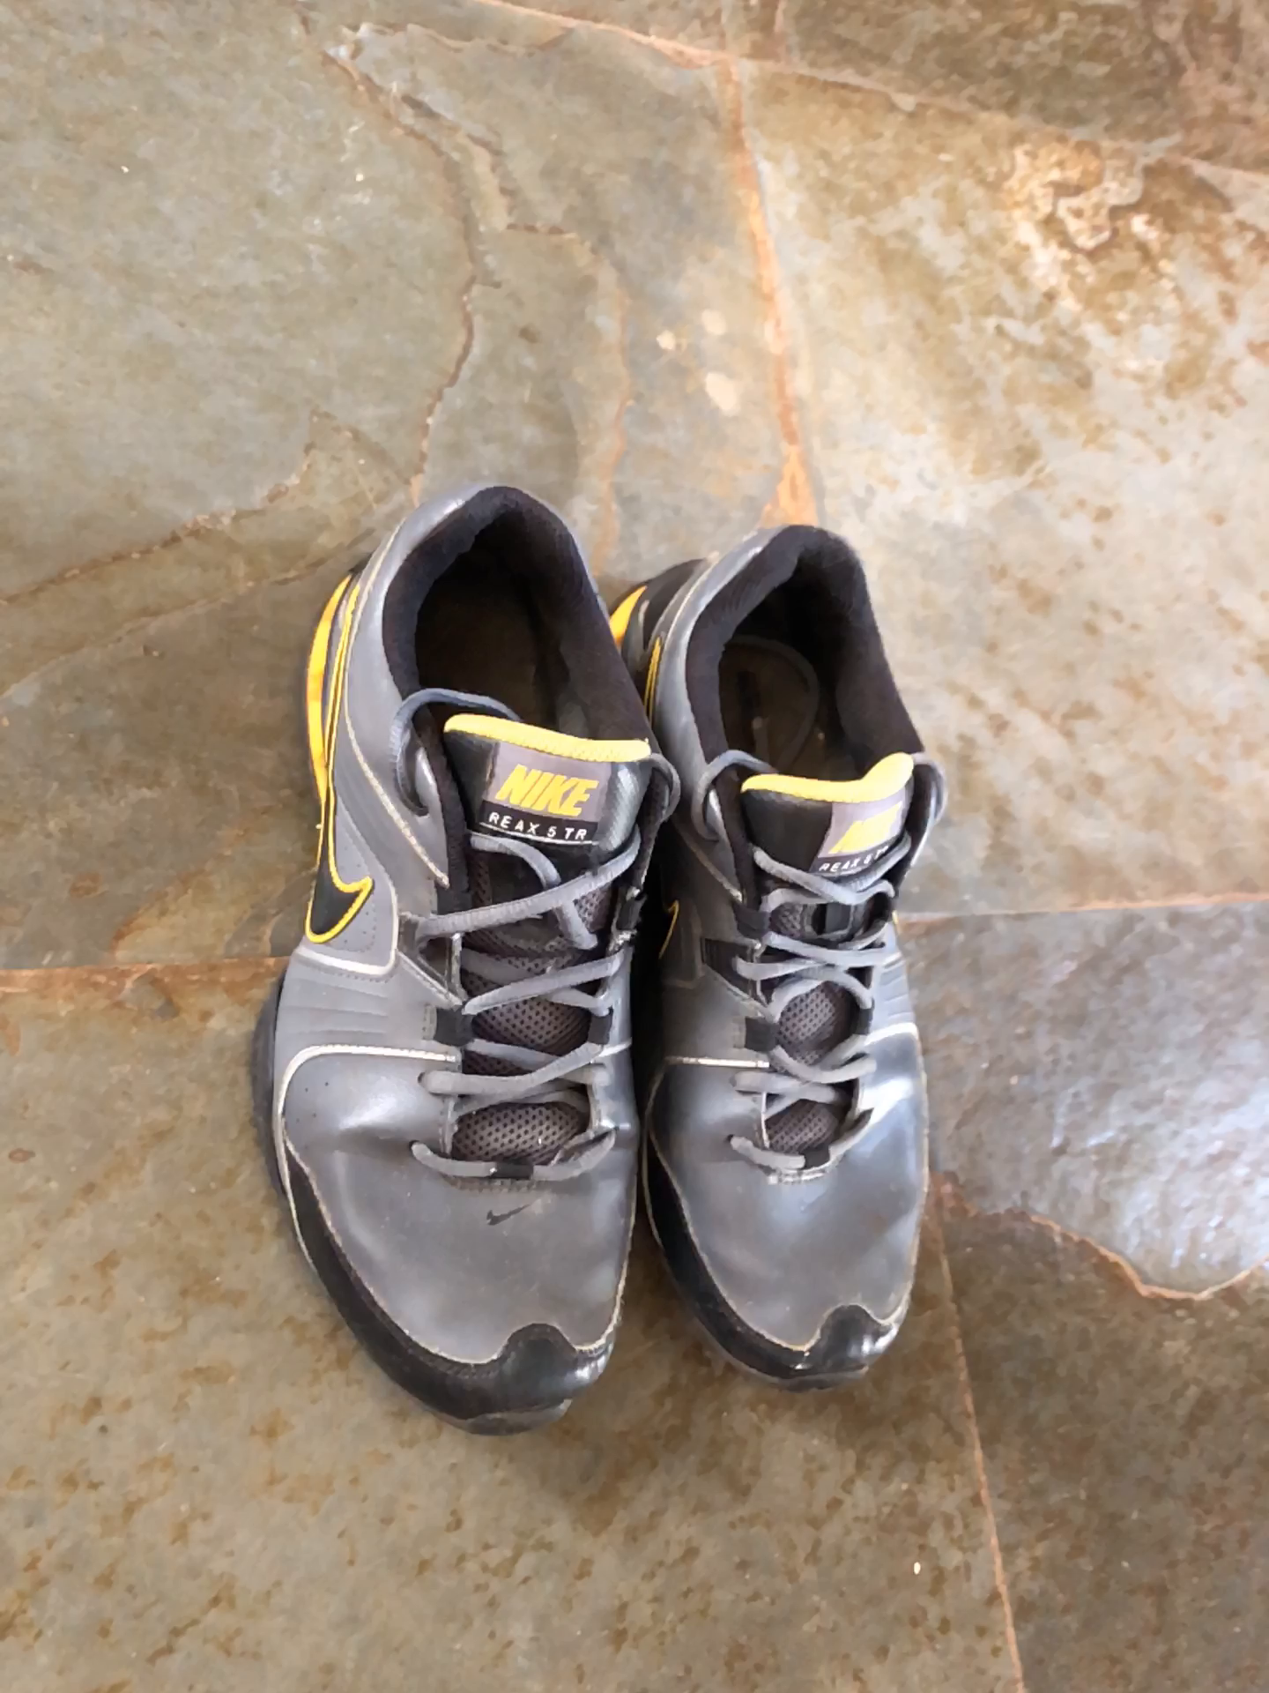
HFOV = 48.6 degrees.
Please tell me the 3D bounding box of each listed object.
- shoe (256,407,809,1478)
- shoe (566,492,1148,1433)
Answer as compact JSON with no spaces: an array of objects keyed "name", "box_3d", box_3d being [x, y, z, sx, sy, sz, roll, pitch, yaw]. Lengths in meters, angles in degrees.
[{"name":"shoe","box_3d":[-0.038,0.023,0.372,0.100,0.099,0.240,1,73,-23]},{"name":"shoe","box_3d":[0.054,0.033,0.416,0.100,0.099,0.240,1,73,-23]}]
